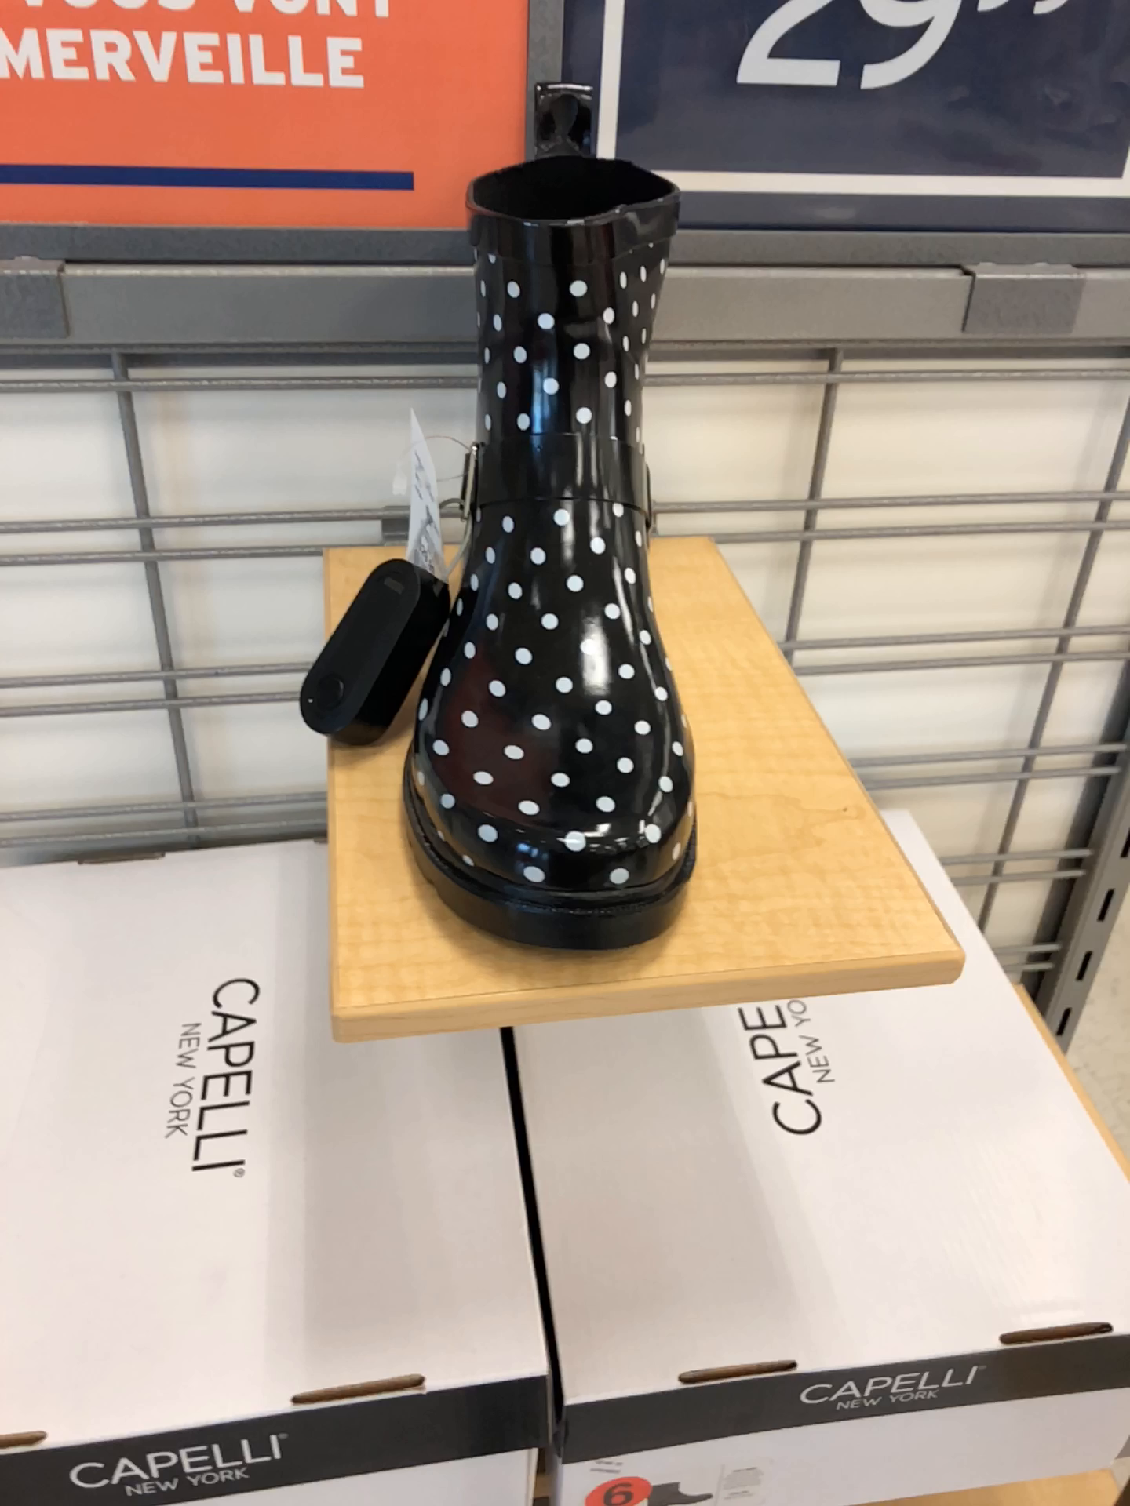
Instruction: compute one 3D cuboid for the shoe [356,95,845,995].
[{"bbox_3d":[-0.007,-0.087,0.402,0.095,0.188,0.262,-1,34,-5],"label":"shoe"}]
